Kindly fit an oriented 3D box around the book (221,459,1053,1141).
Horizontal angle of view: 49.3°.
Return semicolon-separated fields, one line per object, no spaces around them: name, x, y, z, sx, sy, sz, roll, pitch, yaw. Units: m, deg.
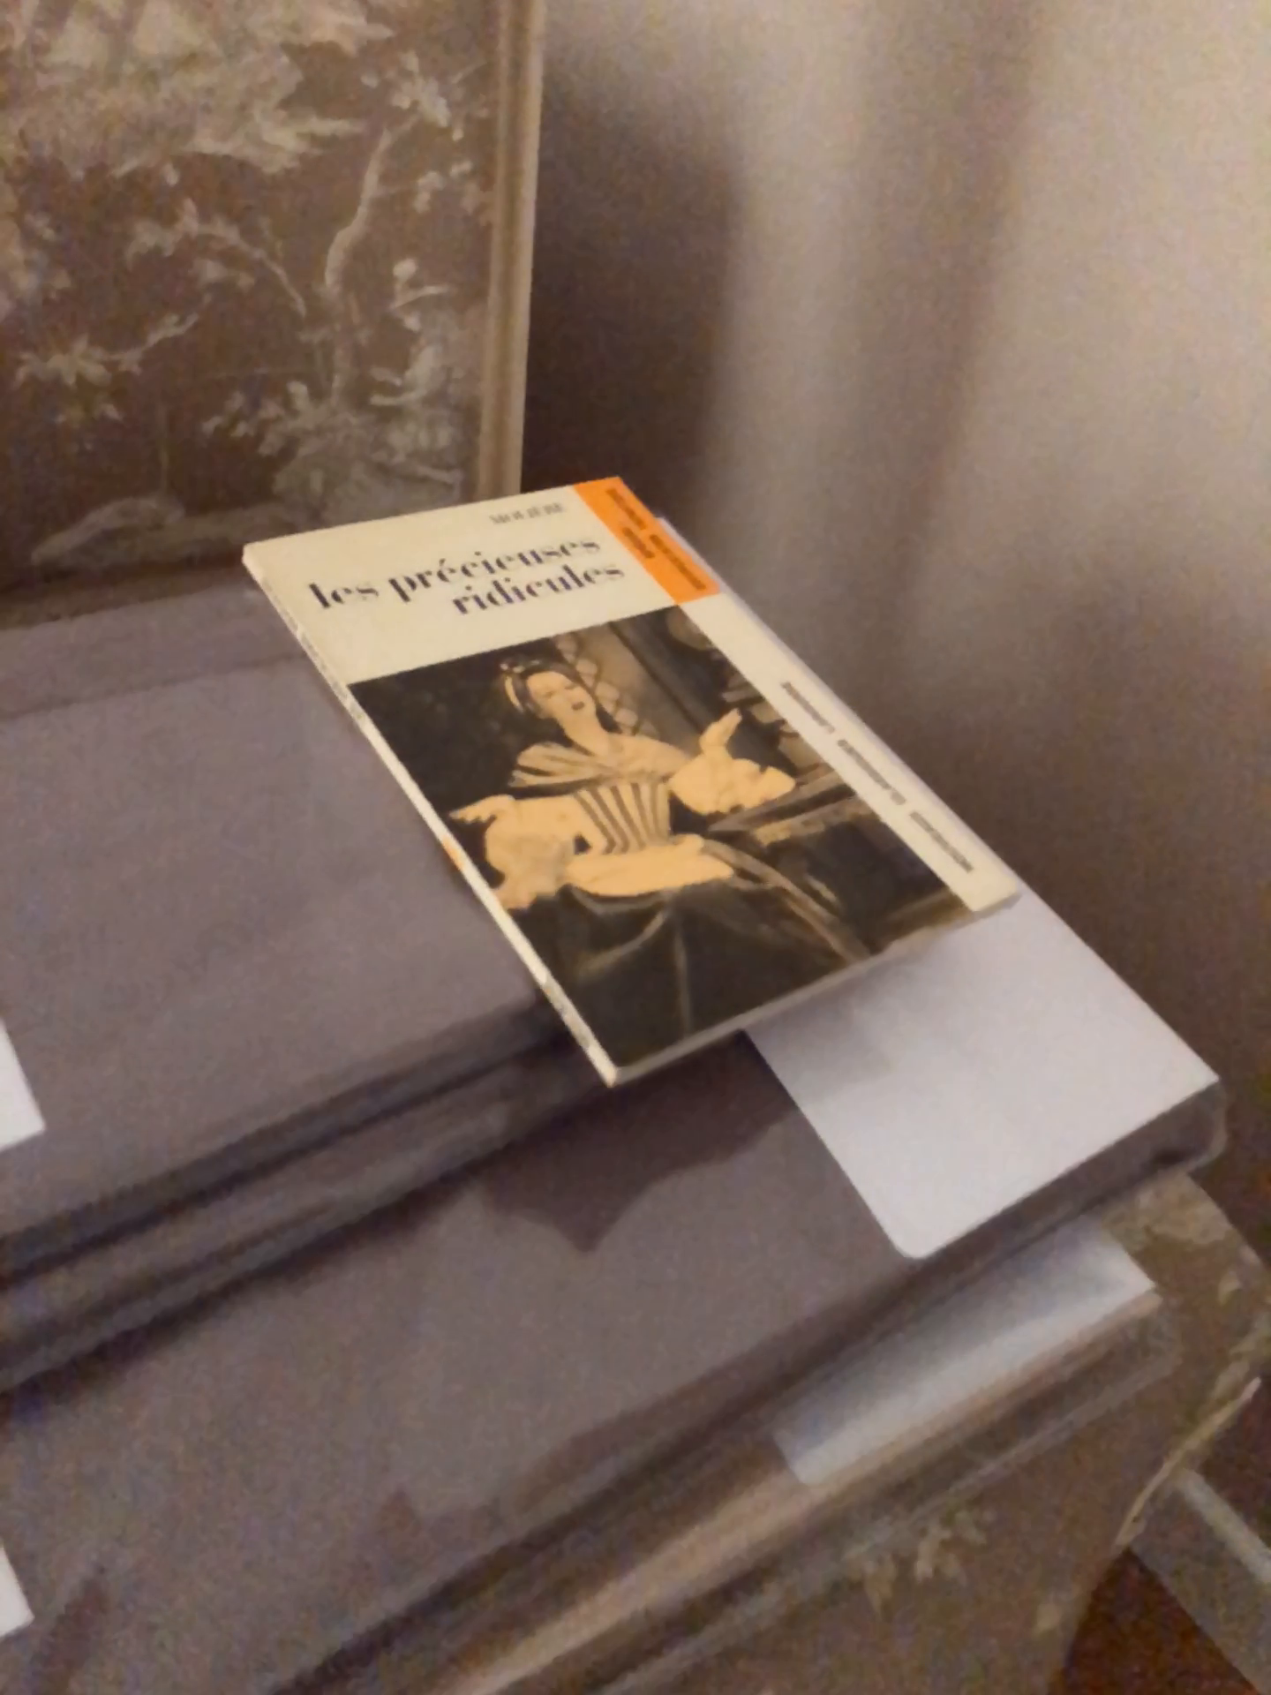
book;-0.006;-0.028;0.335;0.121;0.020;0.180;-20;54;-30
